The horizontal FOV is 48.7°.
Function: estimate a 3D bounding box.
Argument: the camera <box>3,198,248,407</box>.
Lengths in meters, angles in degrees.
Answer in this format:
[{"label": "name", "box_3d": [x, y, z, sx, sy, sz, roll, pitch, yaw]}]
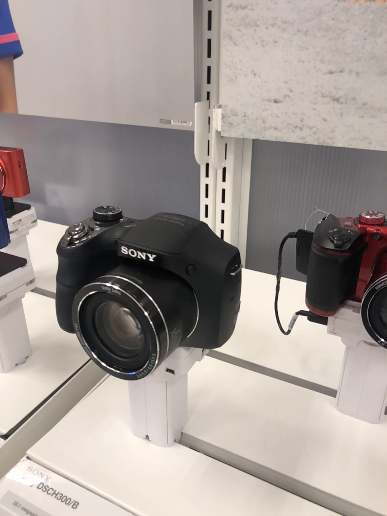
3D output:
[{"label": "camera", "box_3d": [-0.038, 0.018, 0.276, 0.119, 0.076, 0.087, 12, 29, 23]}]
